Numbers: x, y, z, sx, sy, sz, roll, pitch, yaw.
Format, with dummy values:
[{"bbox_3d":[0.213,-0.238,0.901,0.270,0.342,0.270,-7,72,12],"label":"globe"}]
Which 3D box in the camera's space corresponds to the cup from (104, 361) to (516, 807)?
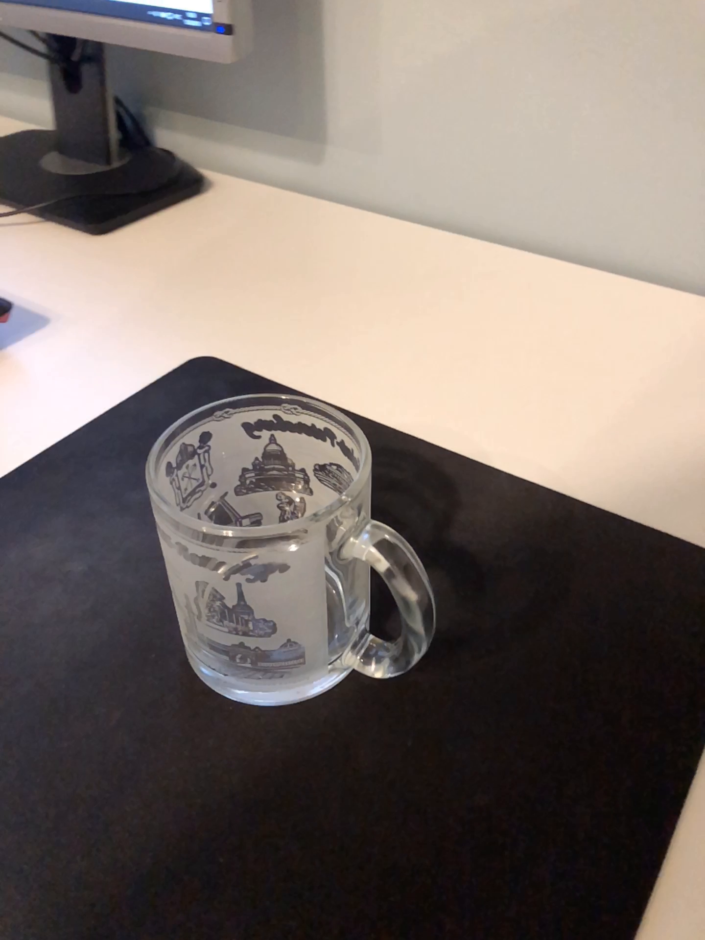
[{"bbox_3d":[-0.014,0.040,0.310,0.116,0.106,0.090,24,46,27],"label":"cup"}]
